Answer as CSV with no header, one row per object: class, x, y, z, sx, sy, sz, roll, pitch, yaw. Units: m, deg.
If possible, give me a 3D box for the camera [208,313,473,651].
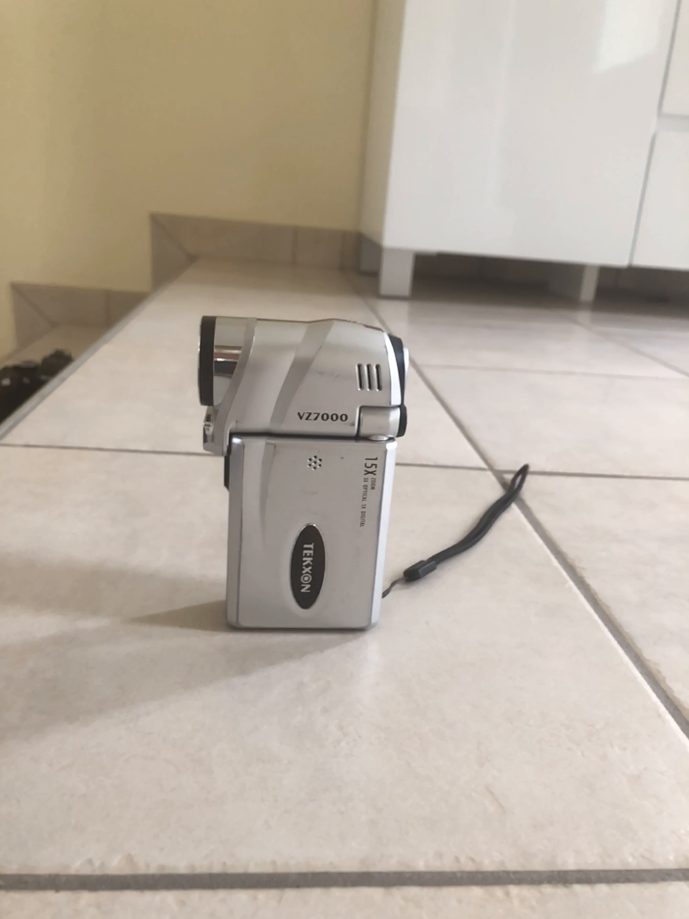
camera,-0.005,0.009,0.272,0.080,0.110,0.040,2,18,-8
